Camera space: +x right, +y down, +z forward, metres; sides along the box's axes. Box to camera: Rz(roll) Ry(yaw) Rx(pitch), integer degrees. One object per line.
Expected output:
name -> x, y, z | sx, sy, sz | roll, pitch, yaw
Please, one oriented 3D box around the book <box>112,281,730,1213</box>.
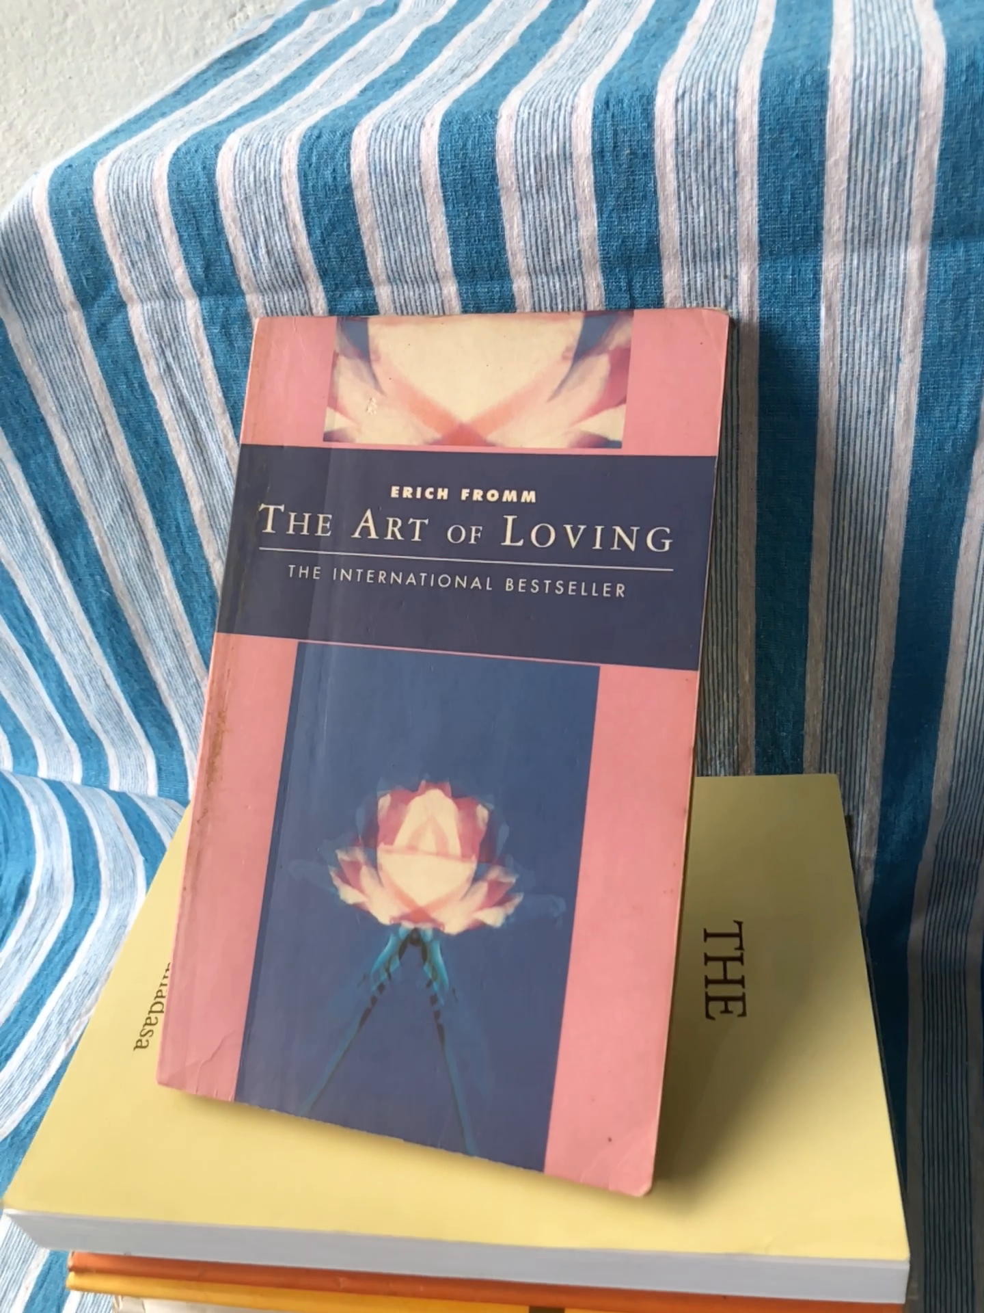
book -> -0.018, 0.011, 0.254 | 0.129, 0.015, 0.193 | 3, 83, 20
